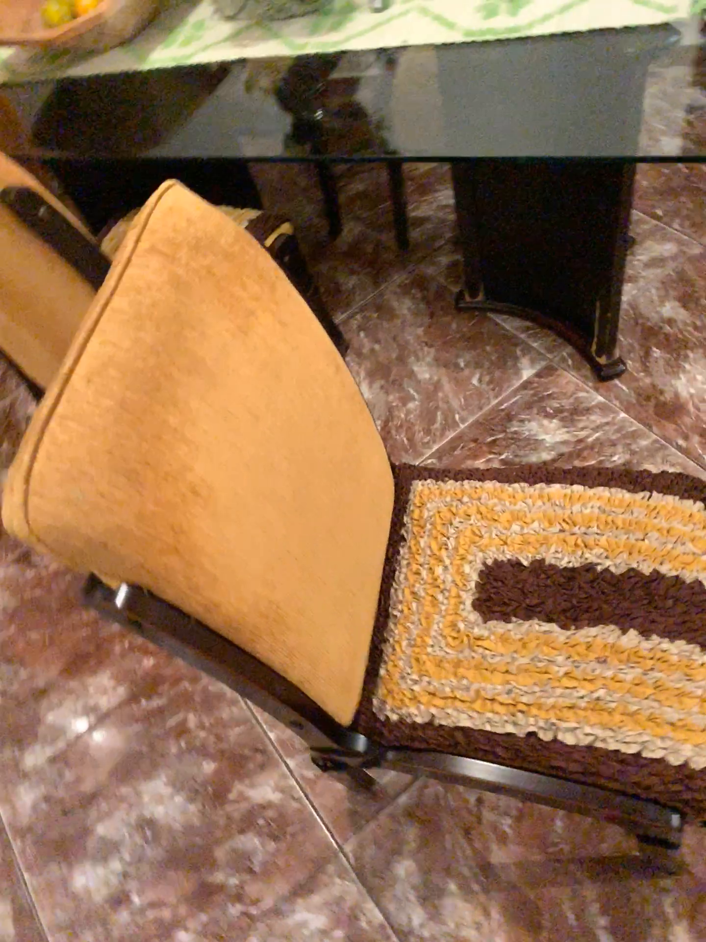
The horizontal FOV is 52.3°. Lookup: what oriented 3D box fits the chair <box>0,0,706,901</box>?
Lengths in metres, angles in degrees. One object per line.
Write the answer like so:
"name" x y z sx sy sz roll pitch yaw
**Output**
"chair" 0.172 0.118 0.873 0.601 0.936 0.562 3 59 17
